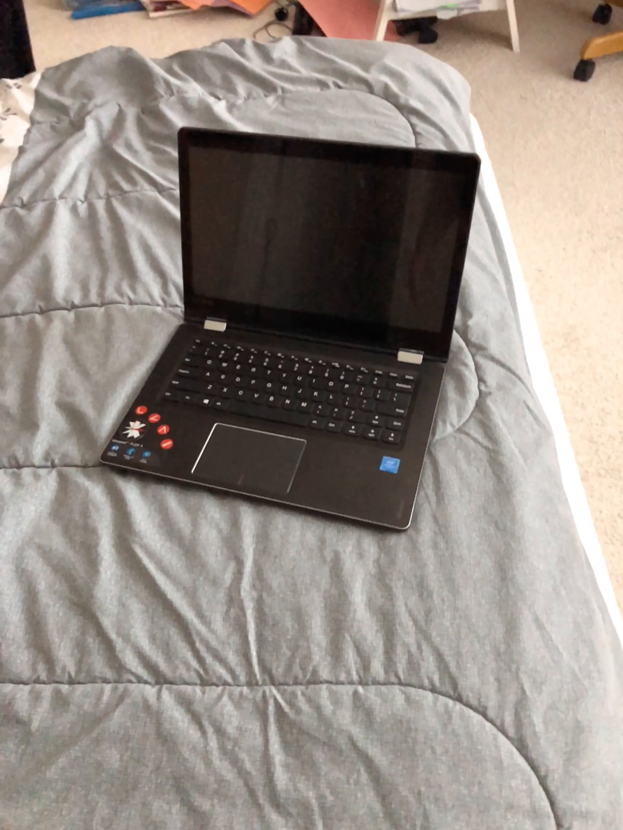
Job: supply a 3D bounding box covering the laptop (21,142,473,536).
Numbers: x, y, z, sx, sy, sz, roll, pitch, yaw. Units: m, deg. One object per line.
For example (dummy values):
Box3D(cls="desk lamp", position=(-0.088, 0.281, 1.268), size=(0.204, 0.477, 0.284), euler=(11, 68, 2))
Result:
Box3D(cls="laptop", position=(-0.035, -0.103, 0.782), size=(0.361, 0.214, 0.352), euler=(11, 54, 12))
